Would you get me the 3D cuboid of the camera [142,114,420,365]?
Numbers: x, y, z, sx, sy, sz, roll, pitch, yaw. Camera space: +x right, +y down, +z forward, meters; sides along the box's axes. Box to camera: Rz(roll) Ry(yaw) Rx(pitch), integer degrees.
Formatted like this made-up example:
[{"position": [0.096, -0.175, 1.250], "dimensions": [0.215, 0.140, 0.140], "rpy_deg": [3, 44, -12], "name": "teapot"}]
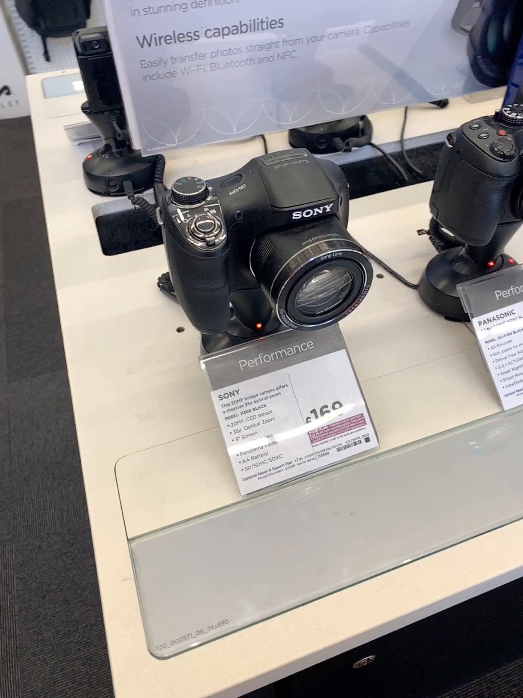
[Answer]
[{"position": [0.008, -0.069, 0.330], "dimensions": [0.130, 0.089, 0.091], "rpy_deg": [-16, 50, -12], "name": "camera"}]
